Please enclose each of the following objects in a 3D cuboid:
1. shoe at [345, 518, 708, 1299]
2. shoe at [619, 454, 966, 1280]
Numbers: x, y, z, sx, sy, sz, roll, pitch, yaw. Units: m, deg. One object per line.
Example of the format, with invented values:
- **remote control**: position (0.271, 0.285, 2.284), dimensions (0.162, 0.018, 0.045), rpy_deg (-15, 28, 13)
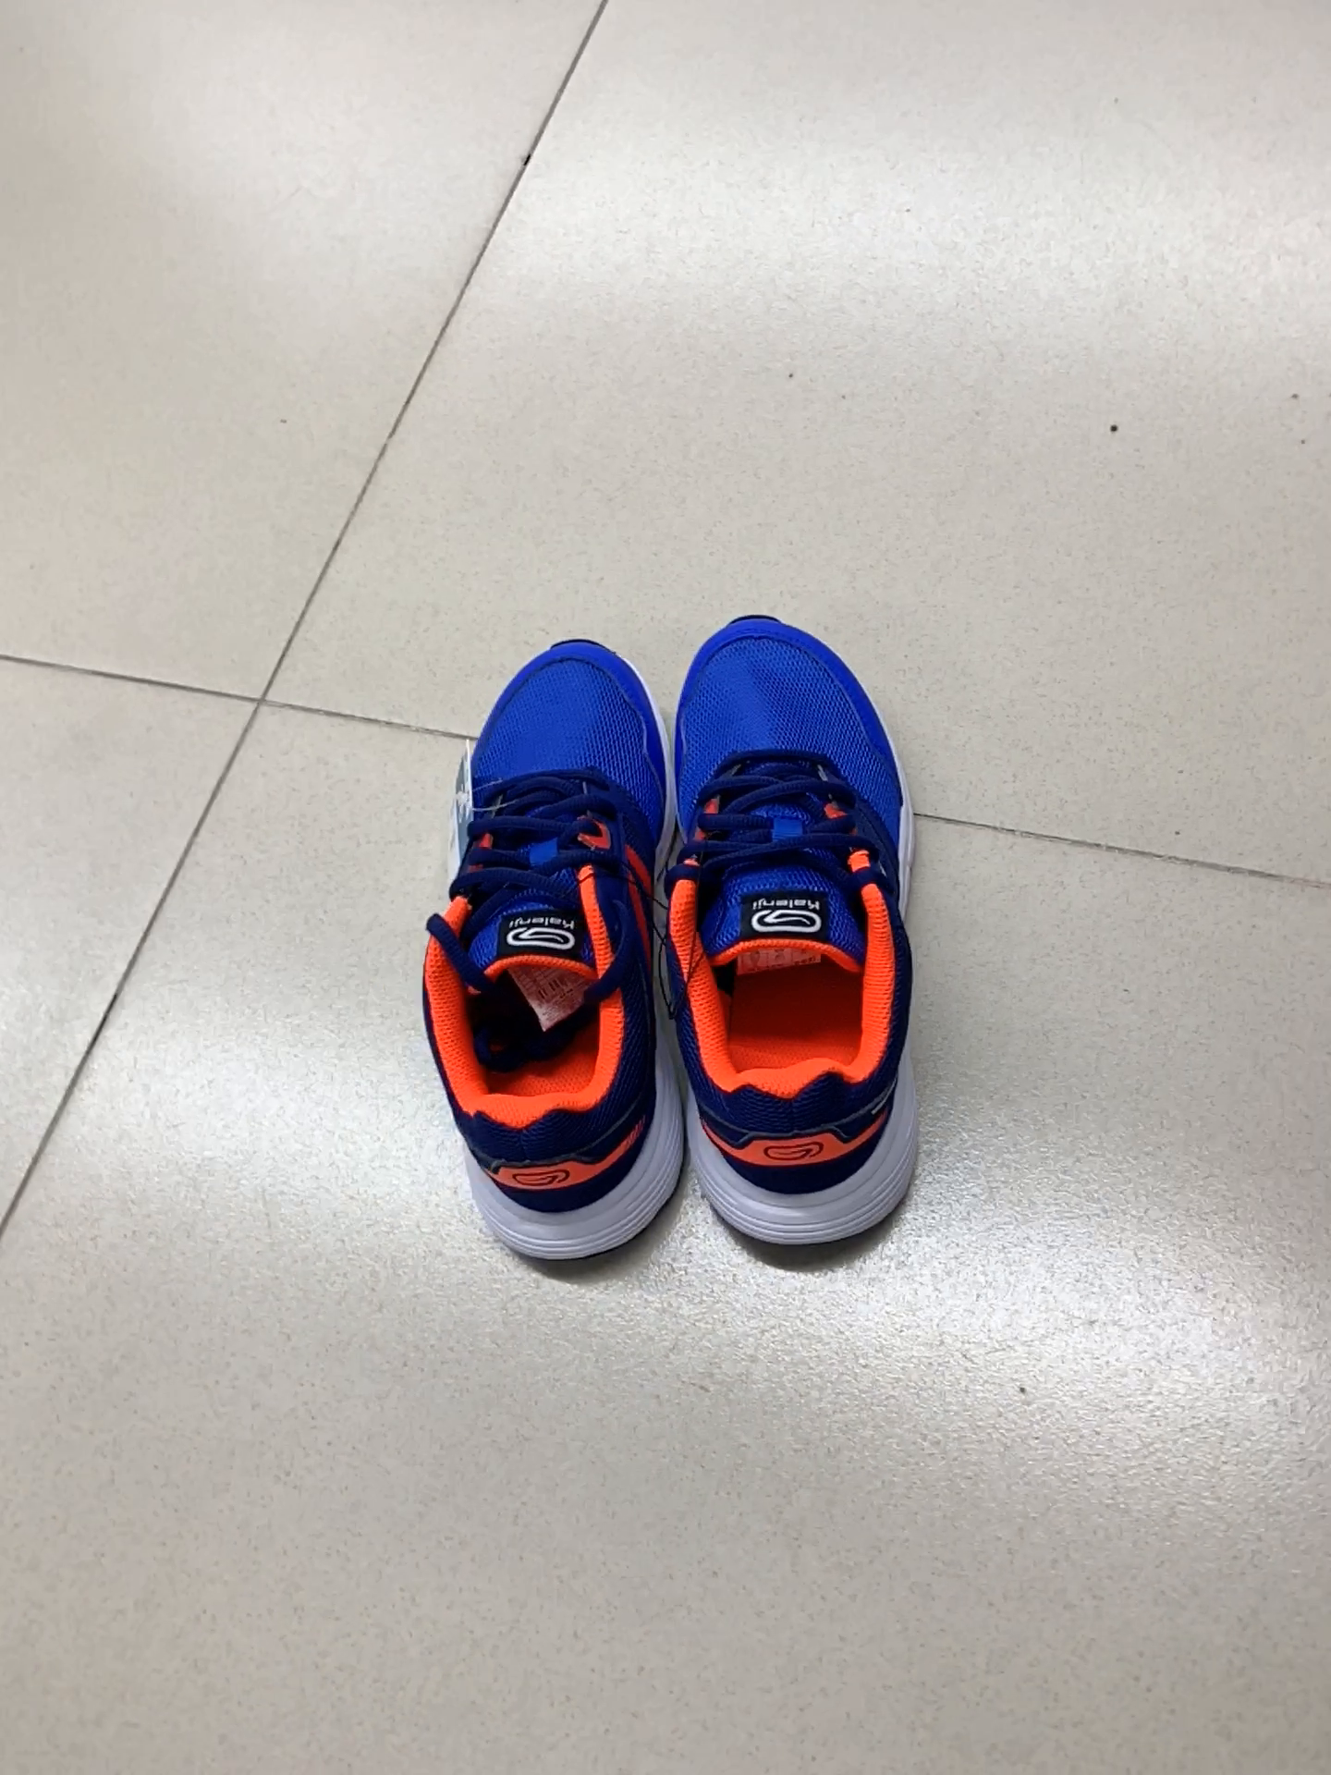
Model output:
- **shoe**: position (-0.045, 0.007, 0.499), dimensions (0.090, 0.120, 0.250), rpy_deg (-7, 62, 7)
- **shoe**: position (0.040, -0.007, 0.469), dimensions (0.090, 0.120, 0.250), rpy_deg (-5, 62, 7)
